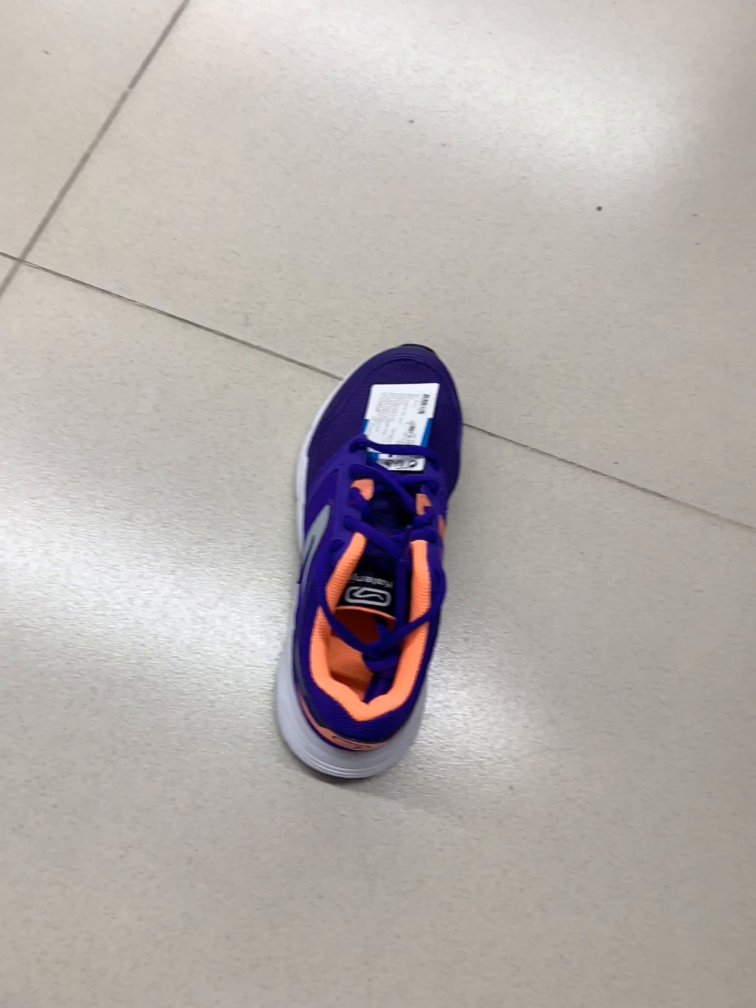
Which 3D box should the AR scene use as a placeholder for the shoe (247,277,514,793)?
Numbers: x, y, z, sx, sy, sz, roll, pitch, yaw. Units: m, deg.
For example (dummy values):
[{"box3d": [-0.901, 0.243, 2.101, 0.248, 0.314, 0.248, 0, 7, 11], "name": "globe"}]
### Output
[{"box3d": [0.002, 0.019, 0.424, 0.100, 0.100, 0.250, 10, 68, -6], "name": "shoe"}]
